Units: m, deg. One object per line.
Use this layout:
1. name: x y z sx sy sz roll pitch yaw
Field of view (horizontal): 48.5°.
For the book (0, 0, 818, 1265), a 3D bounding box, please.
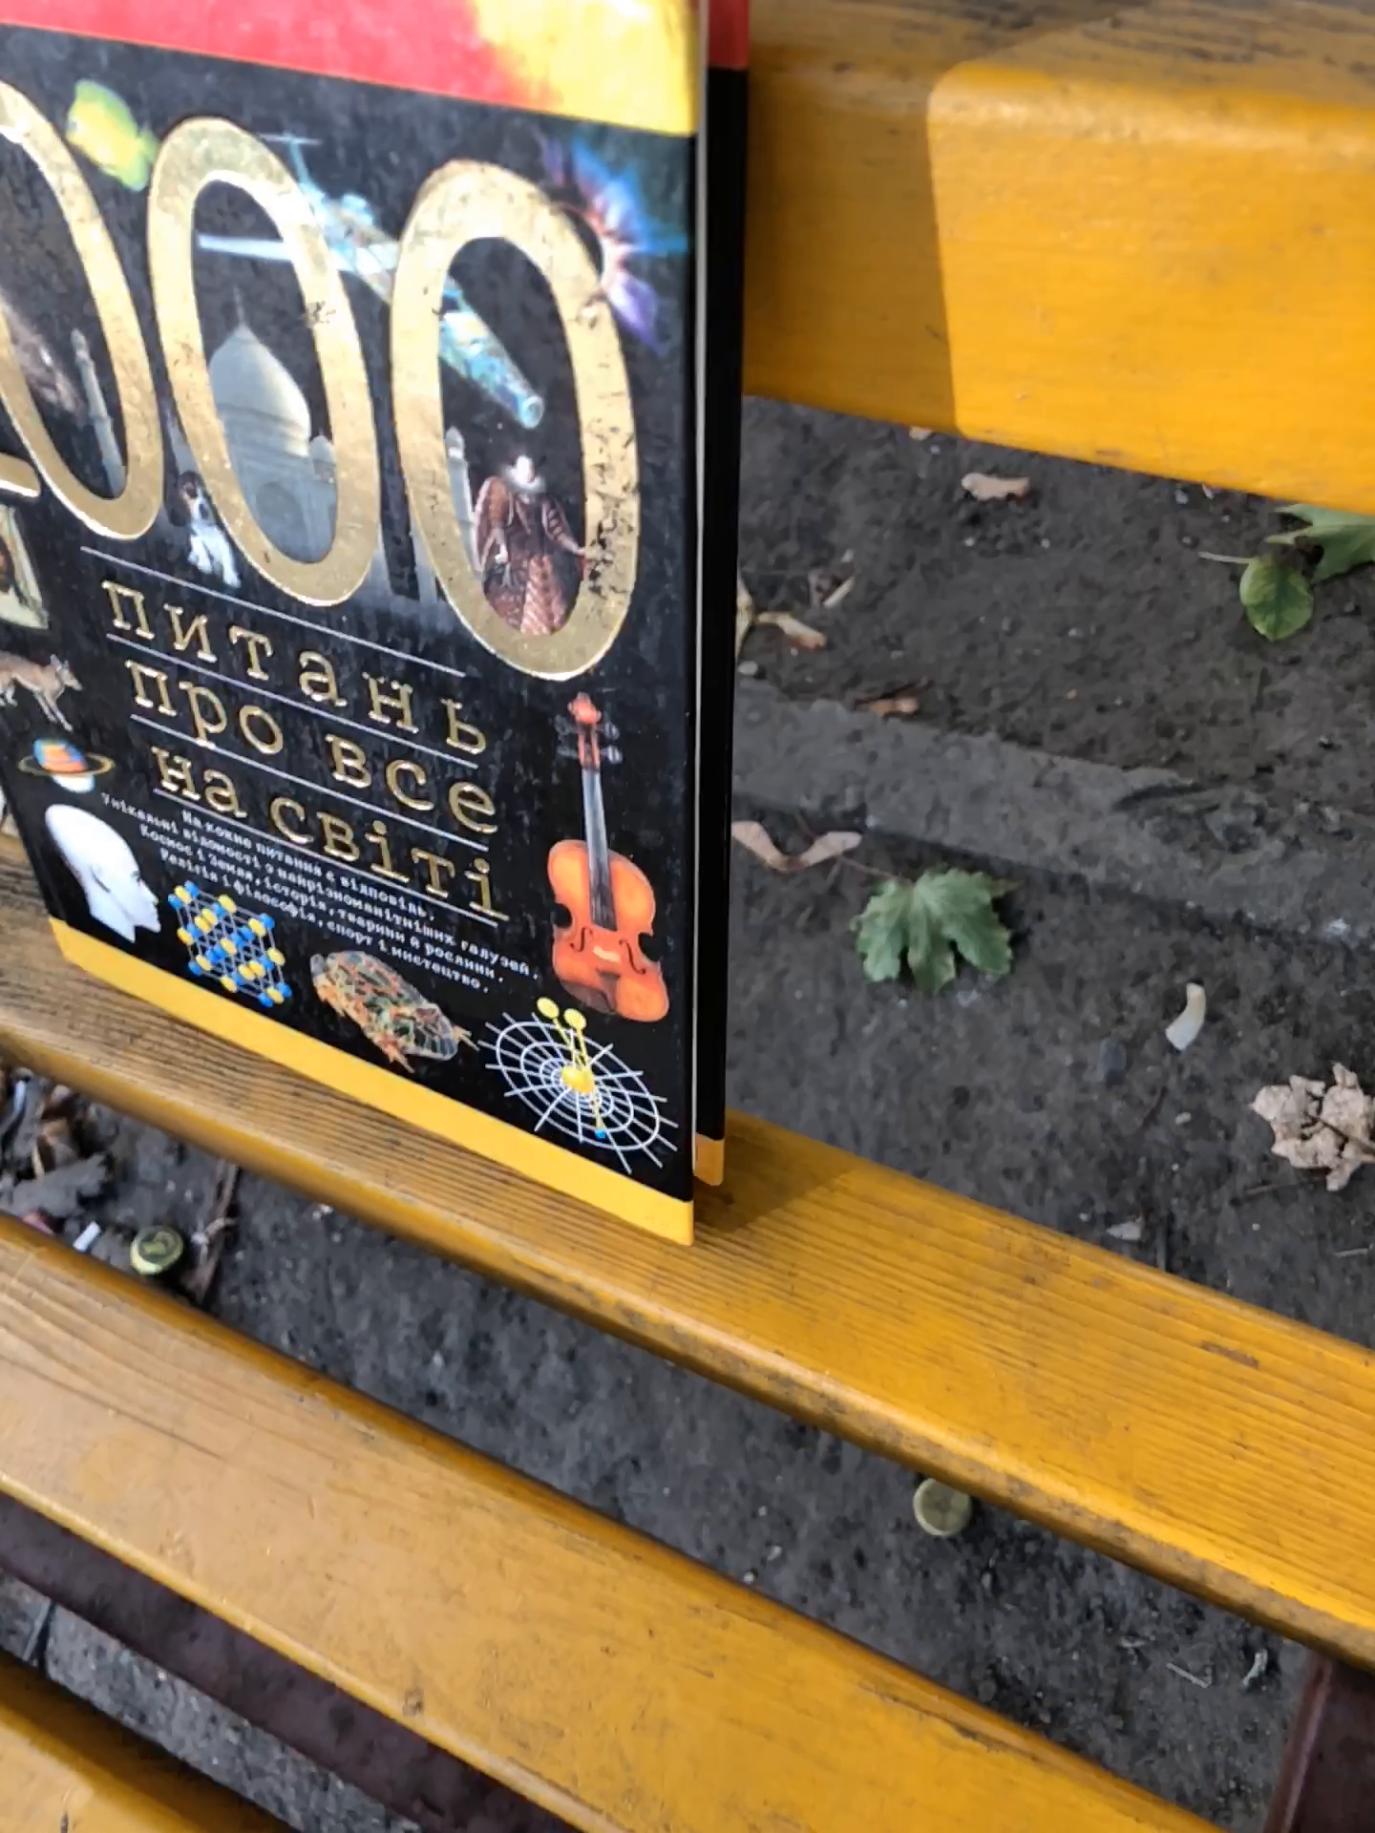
1. book: -0.068 -0.048 0.256 0.172 0.201 0.032 20 45 22
